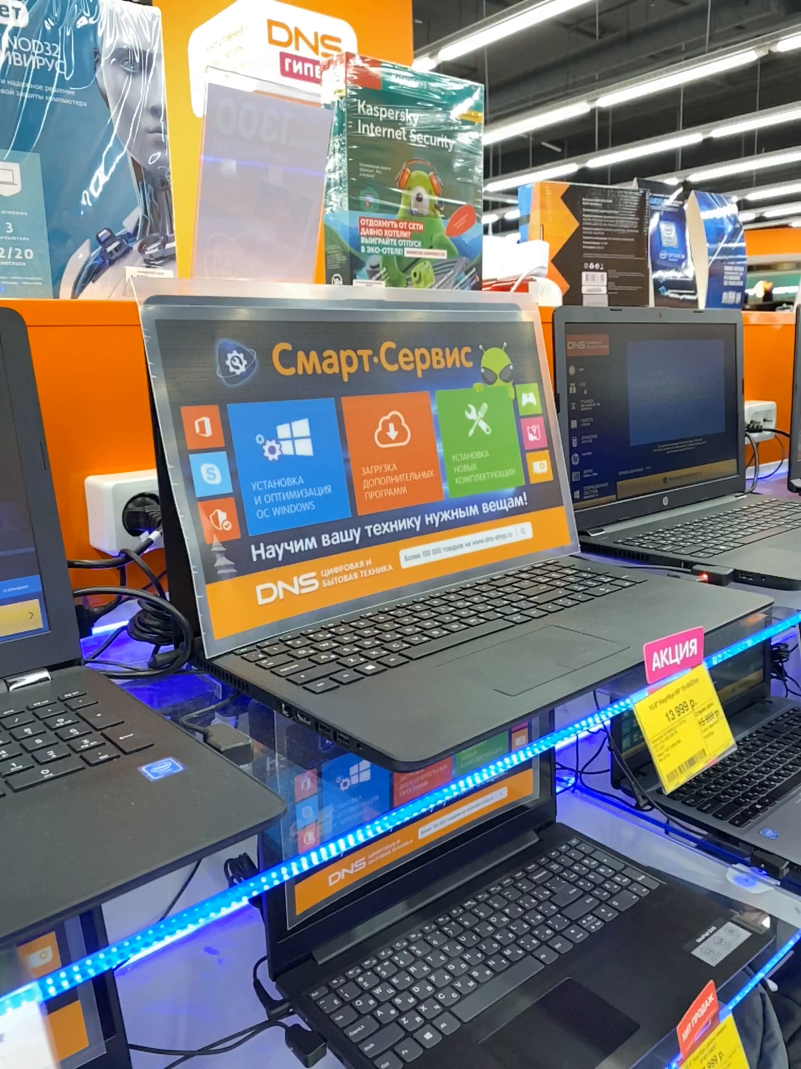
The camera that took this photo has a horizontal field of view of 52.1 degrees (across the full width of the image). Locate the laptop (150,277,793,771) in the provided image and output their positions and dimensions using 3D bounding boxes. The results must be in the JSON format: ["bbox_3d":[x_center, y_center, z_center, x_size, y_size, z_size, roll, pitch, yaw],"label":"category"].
[{"bbox_3d":[0.059,-0.051,0.599,0.377,0.235,0.262,-11,16,-38],"label":"laptop"}]
